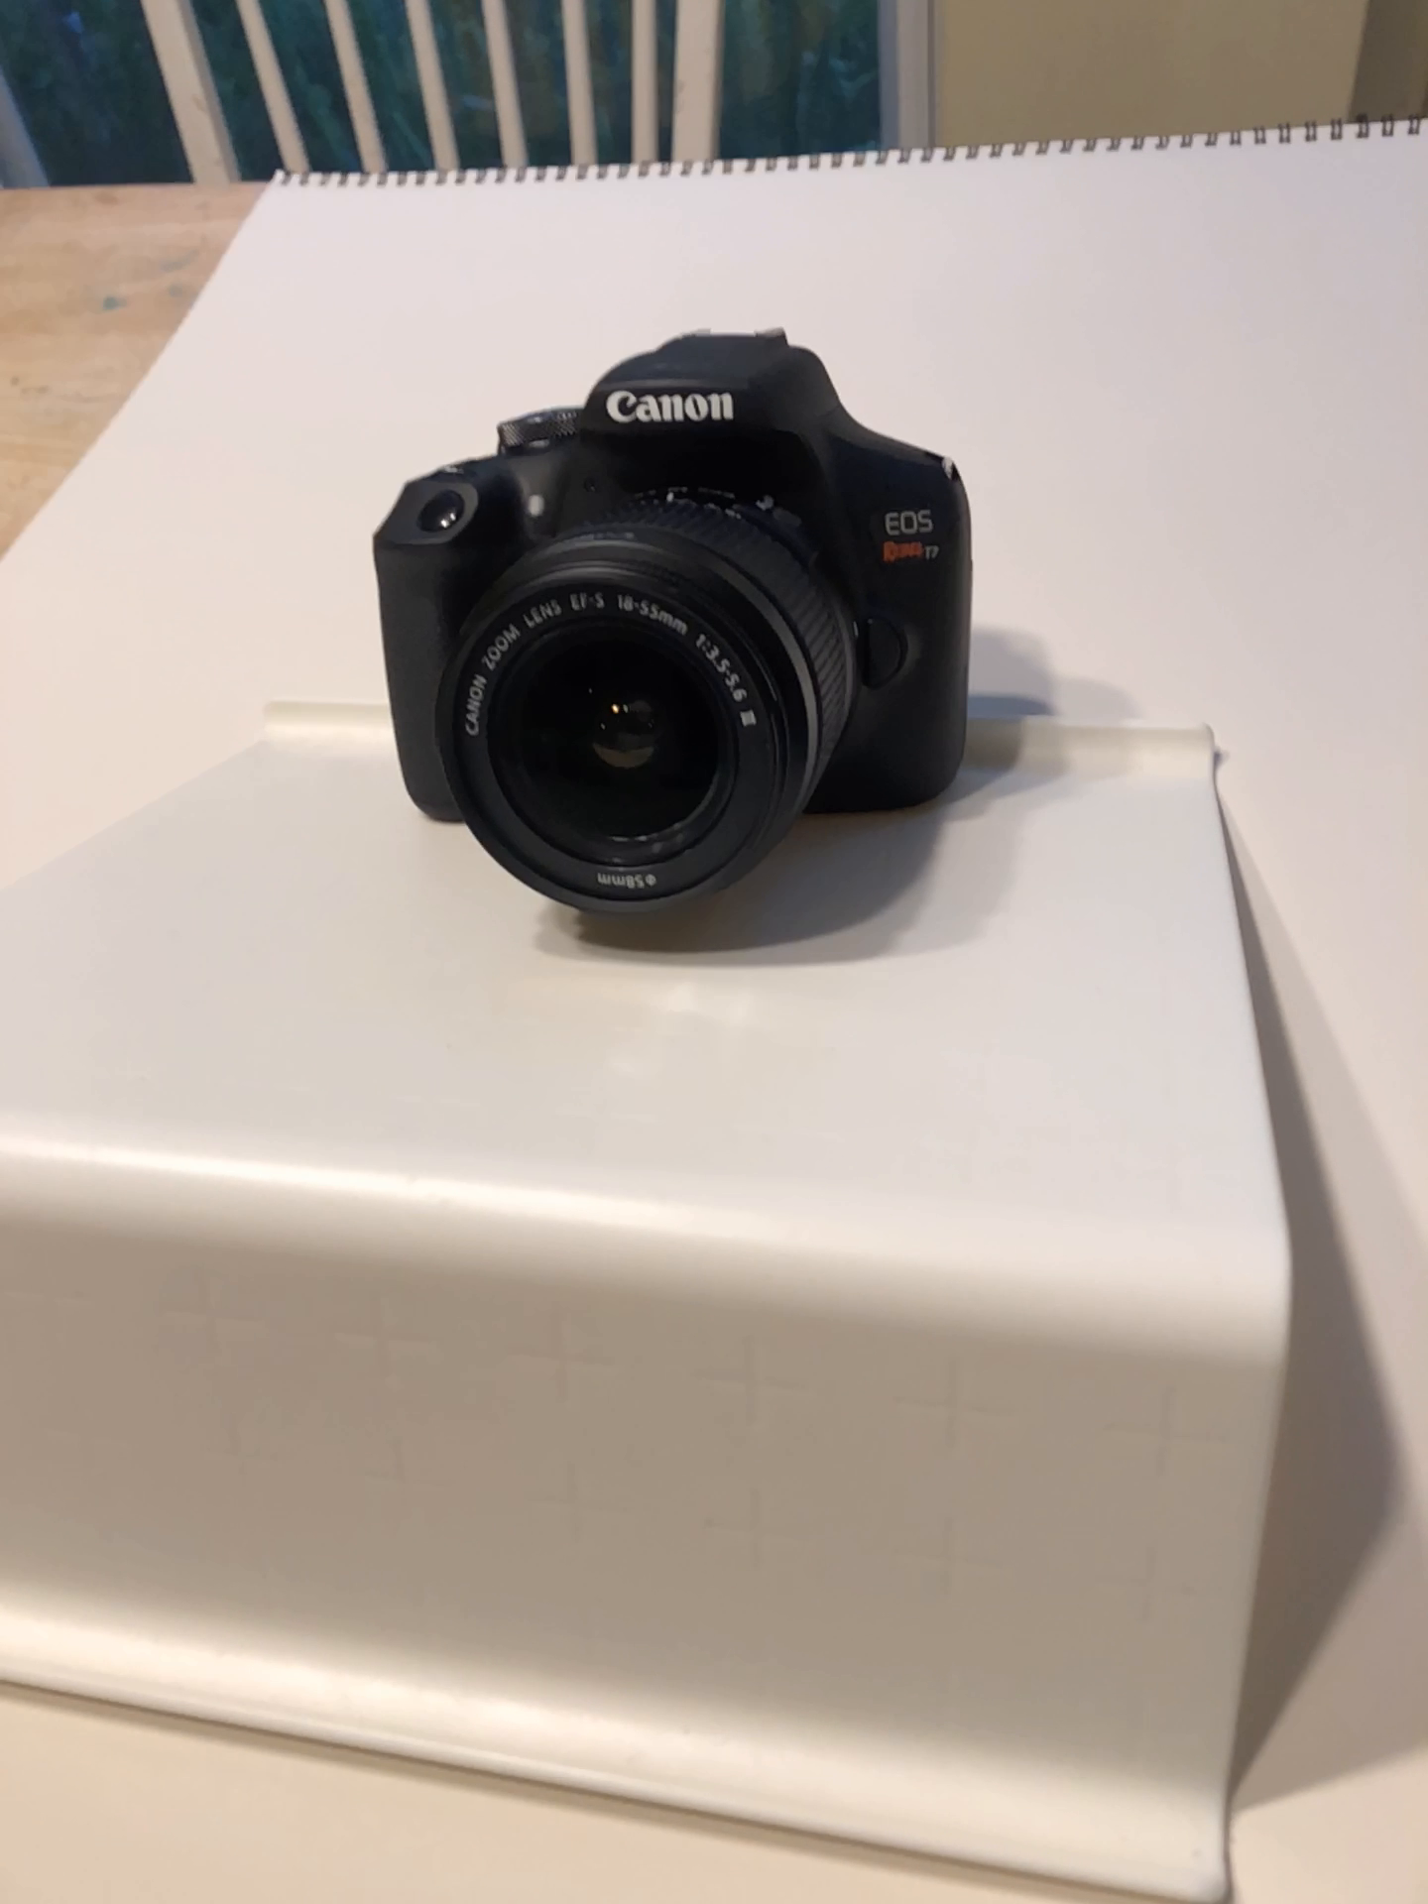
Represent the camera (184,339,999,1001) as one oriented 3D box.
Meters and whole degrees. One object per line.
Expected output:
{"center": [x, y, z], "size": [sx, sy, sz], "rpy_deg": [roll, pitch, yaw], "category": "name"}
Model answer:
{"center": [-0.011, -0.071, 0.332], "size": [0.125, 0.104, 0.141], "rpy_deg": [5, 23, 12], "category": "camera"}
